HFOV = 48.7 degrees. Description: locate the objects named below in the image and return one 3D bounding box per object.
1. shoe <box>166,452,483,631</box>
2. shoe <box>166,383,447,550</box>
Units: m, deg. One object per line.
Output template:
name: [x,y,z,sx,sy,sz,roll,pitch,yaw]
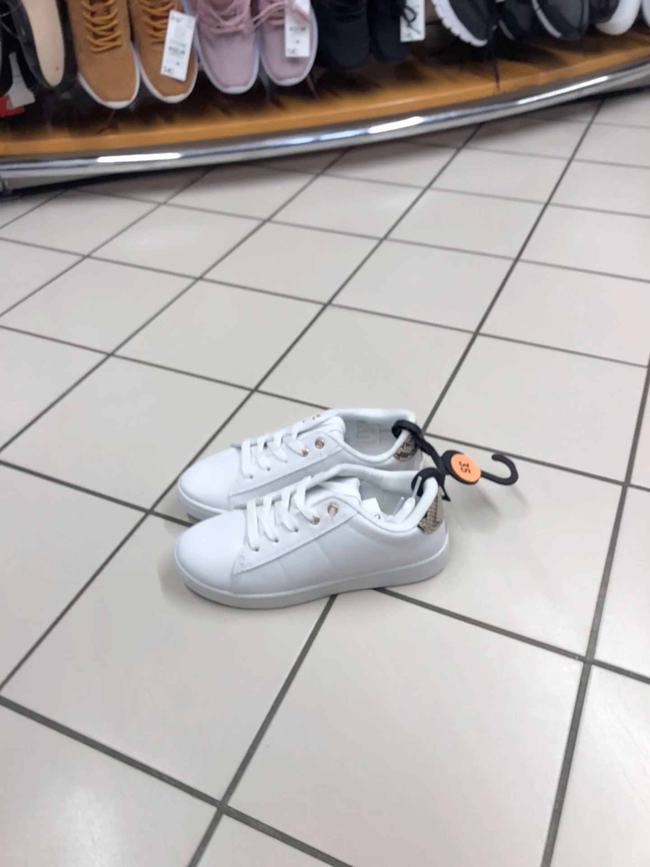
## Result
shoe: [-0.002,0.088,0.600,0.240,0.080,0.090,-6,41,-4]
shoe: [-0.019,0.028,0.667,0.240,0.080,0.090,-8,41,-6]
